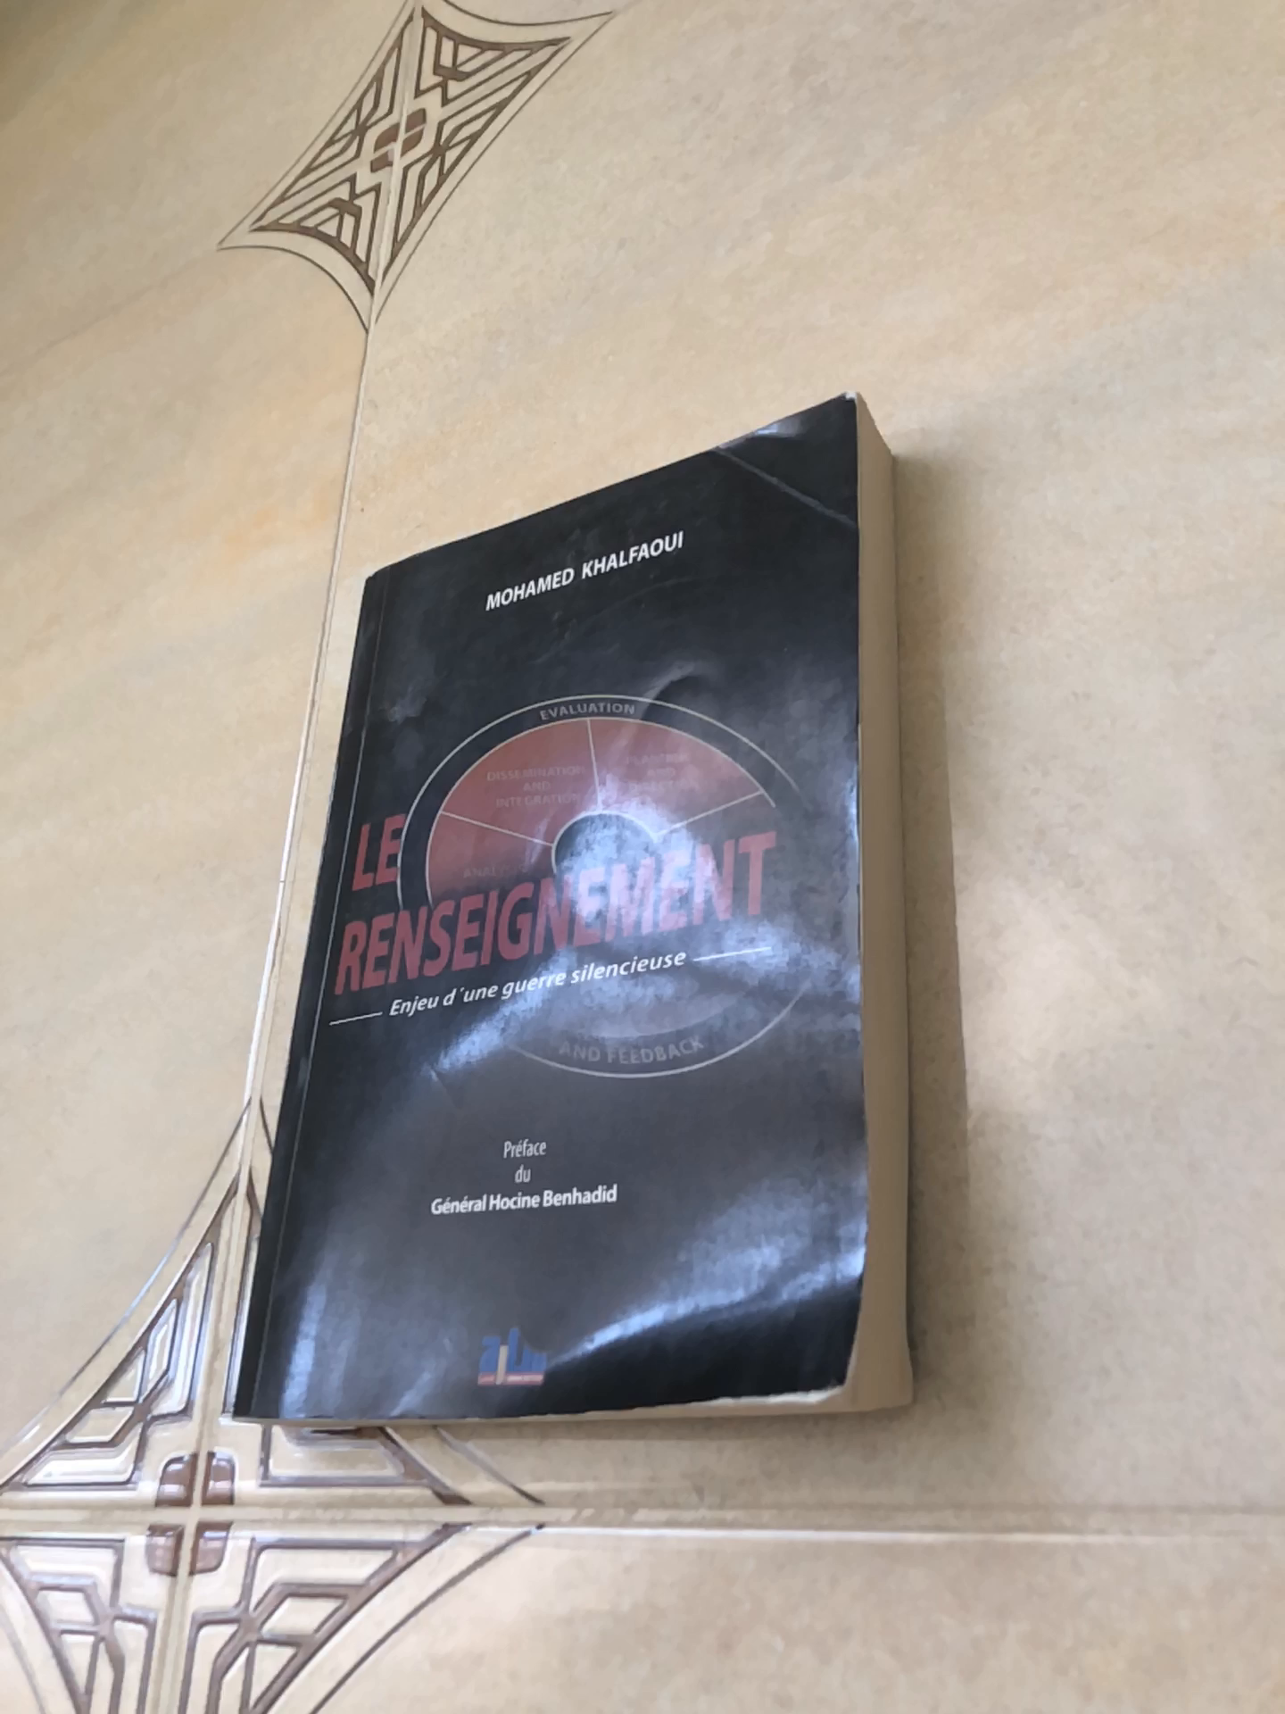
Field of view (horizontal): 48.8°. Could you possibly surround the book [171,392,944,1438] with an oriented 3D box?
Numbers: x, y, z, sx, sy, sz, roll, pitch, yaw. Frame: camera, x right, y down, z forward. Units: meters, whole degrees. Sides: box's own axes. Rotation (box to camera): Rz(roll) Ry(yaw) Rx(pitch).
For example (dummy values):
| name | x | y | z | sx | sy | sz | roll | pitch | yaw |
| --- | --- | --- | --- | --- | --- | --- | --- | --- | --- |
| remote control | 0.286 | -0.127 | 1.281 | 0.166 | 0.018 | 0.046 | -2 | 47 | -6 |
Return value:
| name | x | y | z | sx | sy | sz | roll | pitch | yaw |
| --- | --- | --- | --- | --- | --- | --- | --- | --- | --- |
| book | -0.020 | 0.014 | 0.304 | 0.146 | 0.037 | 0.201 | -13 | 62 | 27 |
